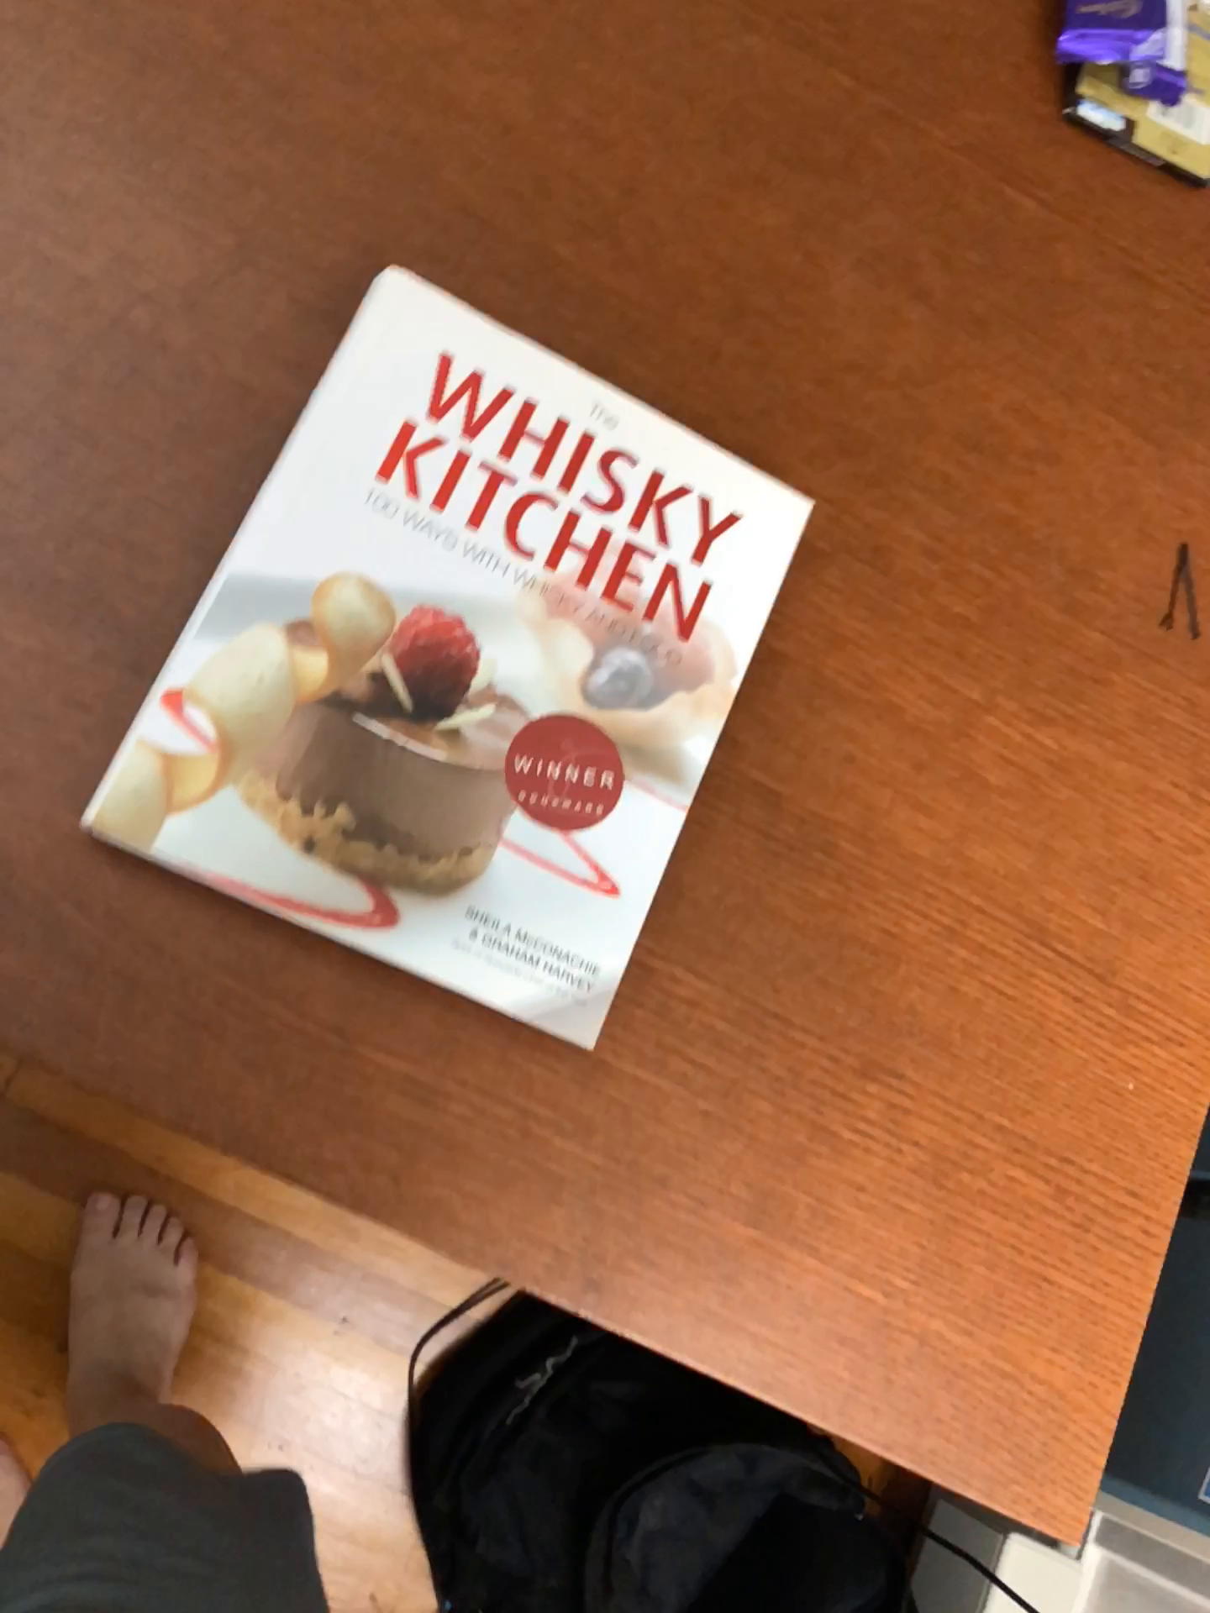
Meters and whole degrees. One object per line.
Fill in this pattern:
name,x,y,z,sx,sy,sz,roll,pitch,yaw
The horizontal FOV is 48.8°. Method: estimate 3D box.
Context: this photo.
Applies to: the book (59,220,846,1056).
book,-0.048,-0.069,0.543,0.220,0.040,0.271,26,73,-10
